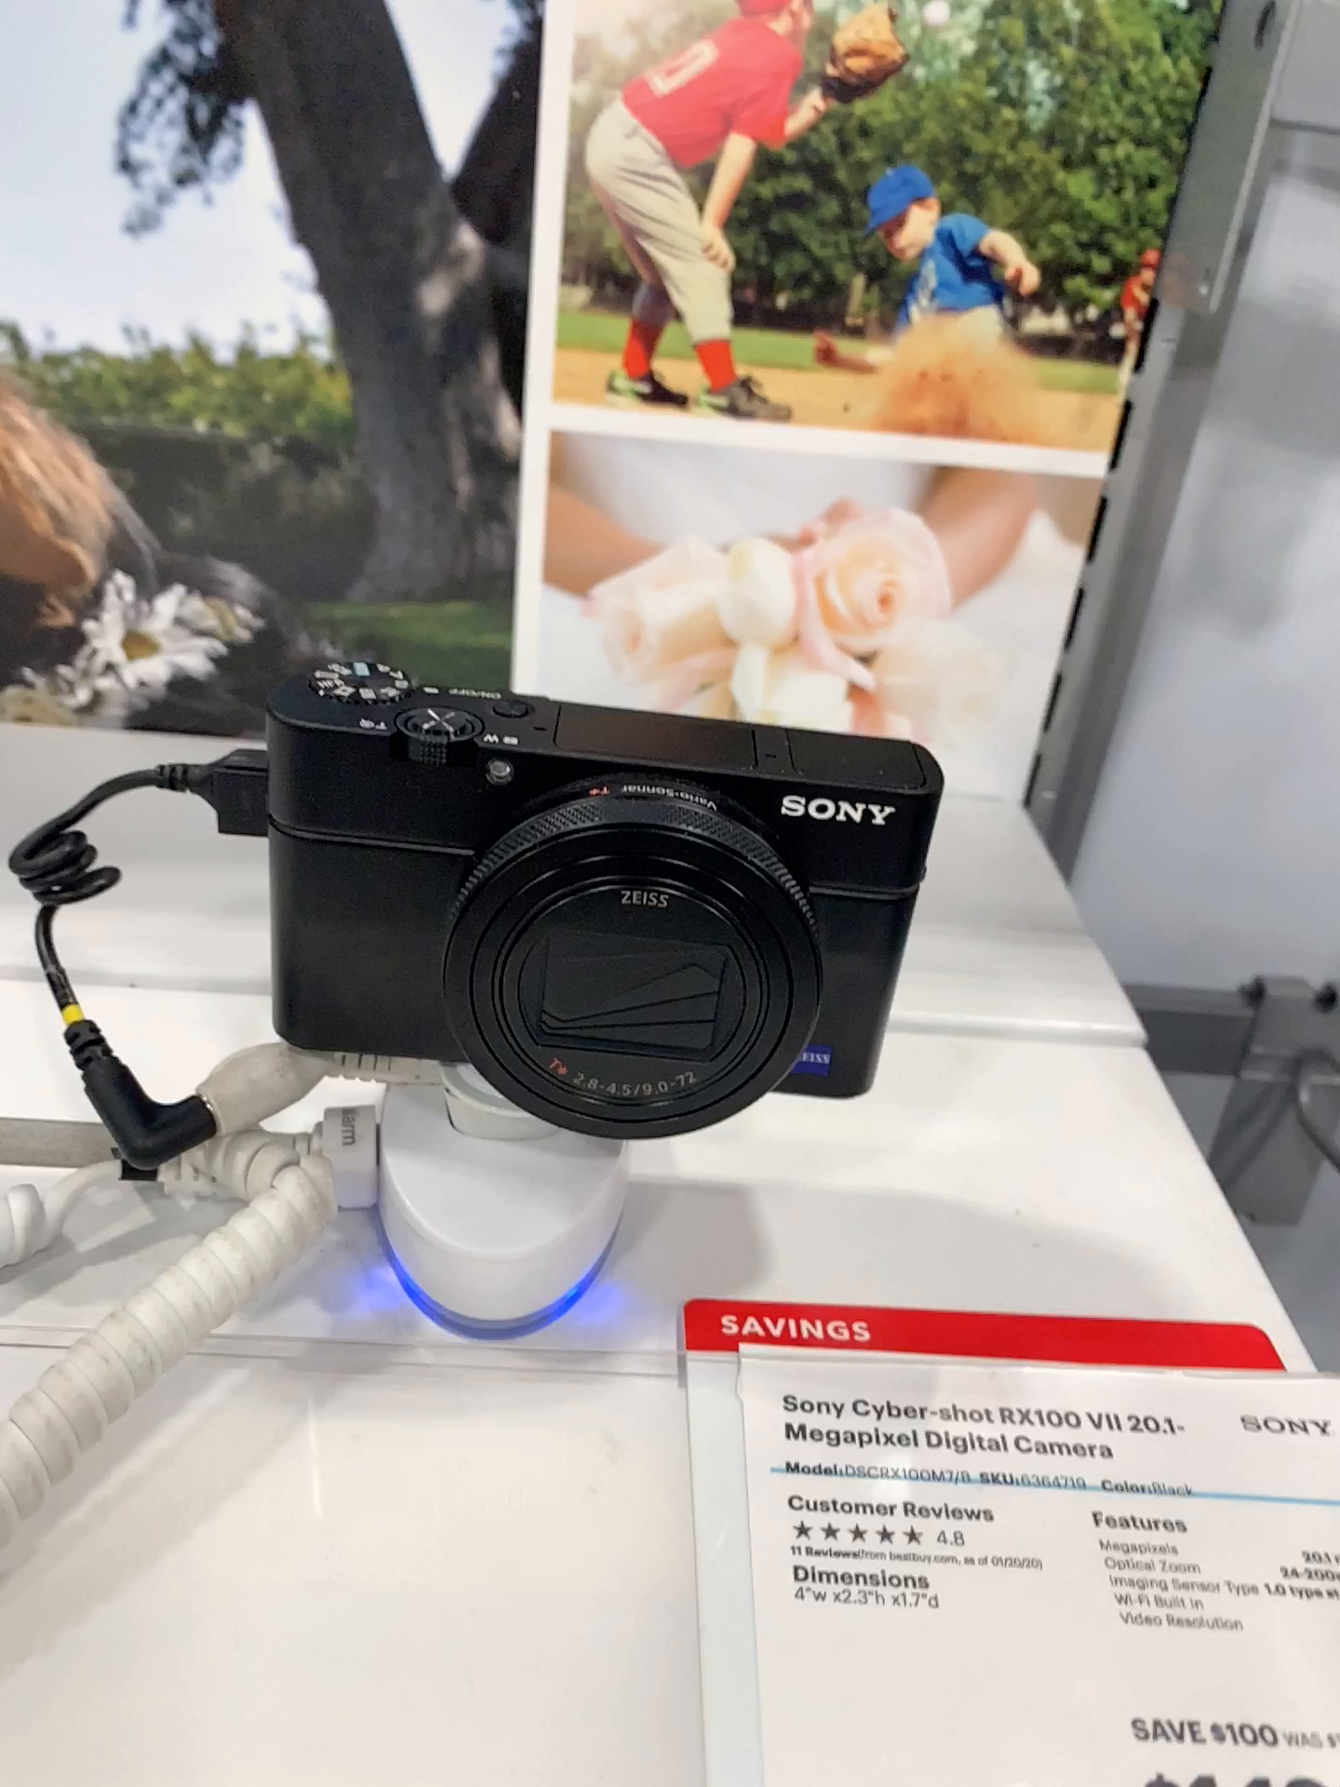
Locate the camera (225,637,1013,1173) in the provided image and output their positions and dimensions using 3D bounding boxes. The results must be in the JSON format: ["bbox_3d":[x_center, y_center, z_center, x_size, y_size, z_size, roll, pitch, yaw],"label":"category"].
[{"bbox_3d":[-0.010,0.001,0.219,0.105,0.060,0.043,6,28,-4],"label":"camera"}]
